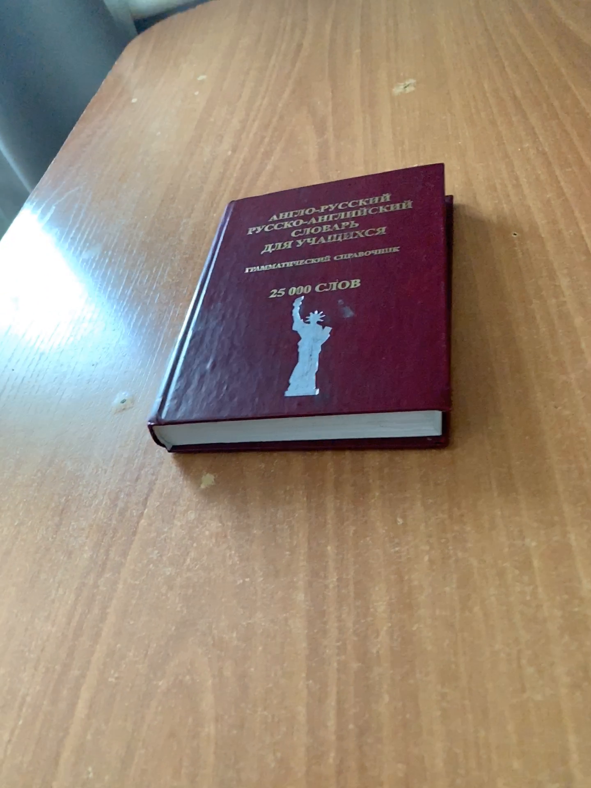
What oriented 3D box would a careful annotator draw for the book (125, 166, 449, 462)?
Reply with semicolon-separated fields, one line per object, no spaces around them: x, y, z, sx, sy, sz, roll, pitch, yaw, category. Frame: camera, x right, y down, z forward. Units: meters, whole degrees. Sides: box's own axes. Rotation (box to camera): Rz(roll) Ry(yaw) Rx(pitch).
0.005;-0.045;0.303;0.134;0.023;0.167;-4;50;18;book
